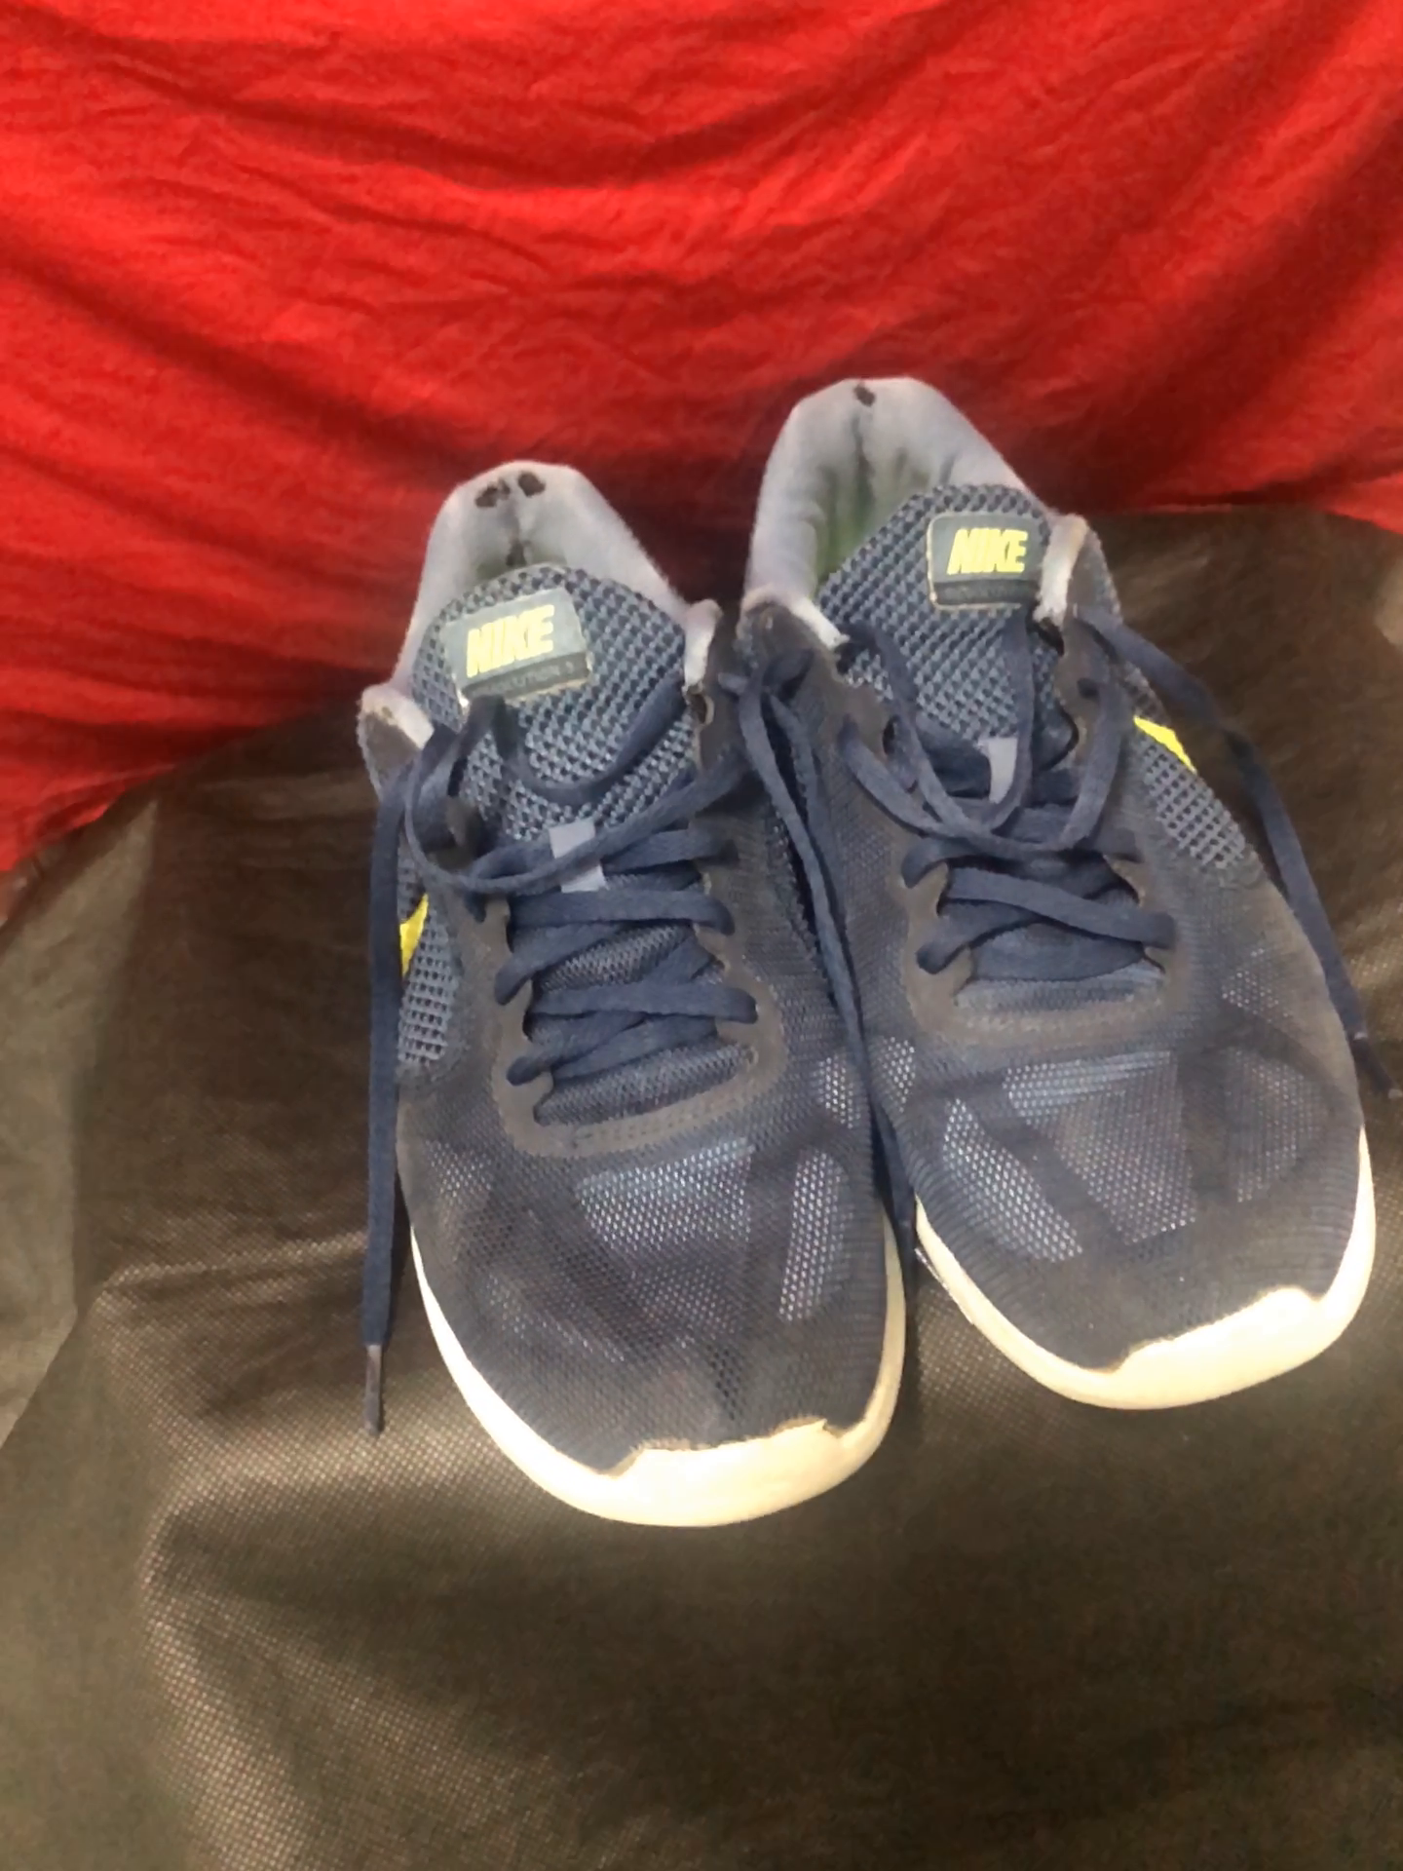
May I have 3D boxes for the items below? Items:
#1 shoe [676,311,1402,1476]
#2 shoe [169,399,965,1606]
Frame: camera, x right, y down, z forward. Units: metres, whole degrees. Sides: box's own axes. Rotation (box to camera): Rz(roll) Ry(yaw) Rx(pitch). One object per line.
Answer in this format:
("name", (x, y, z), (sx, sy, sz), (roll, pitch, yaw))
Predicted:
("shoe", (0.074, -0.031, 0.355), (0.110, 0.089, 0.262), (-13, 46, 1))
("shoe", (-0.030, -0.003, 0.332), (0.110, 0.099, 0.232), (-13, 46, 1))
